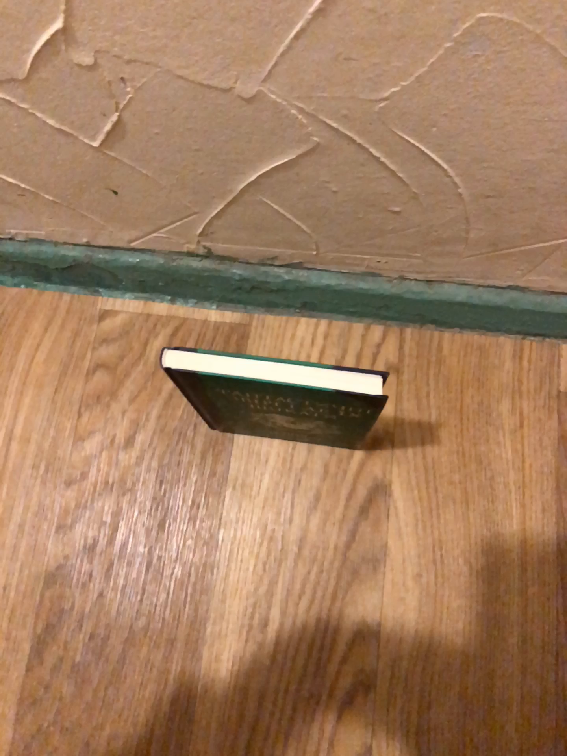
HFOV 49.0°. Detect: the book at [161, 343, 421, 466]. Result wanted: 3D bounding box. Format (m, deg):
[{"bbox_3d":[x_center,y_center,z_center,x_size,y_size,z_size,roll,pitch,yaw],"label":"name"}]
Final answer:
[{"bbox_3d":[0.007,0.028,0.452,0.148,0.197,0.024,8,75,4],"label":"book"}]
